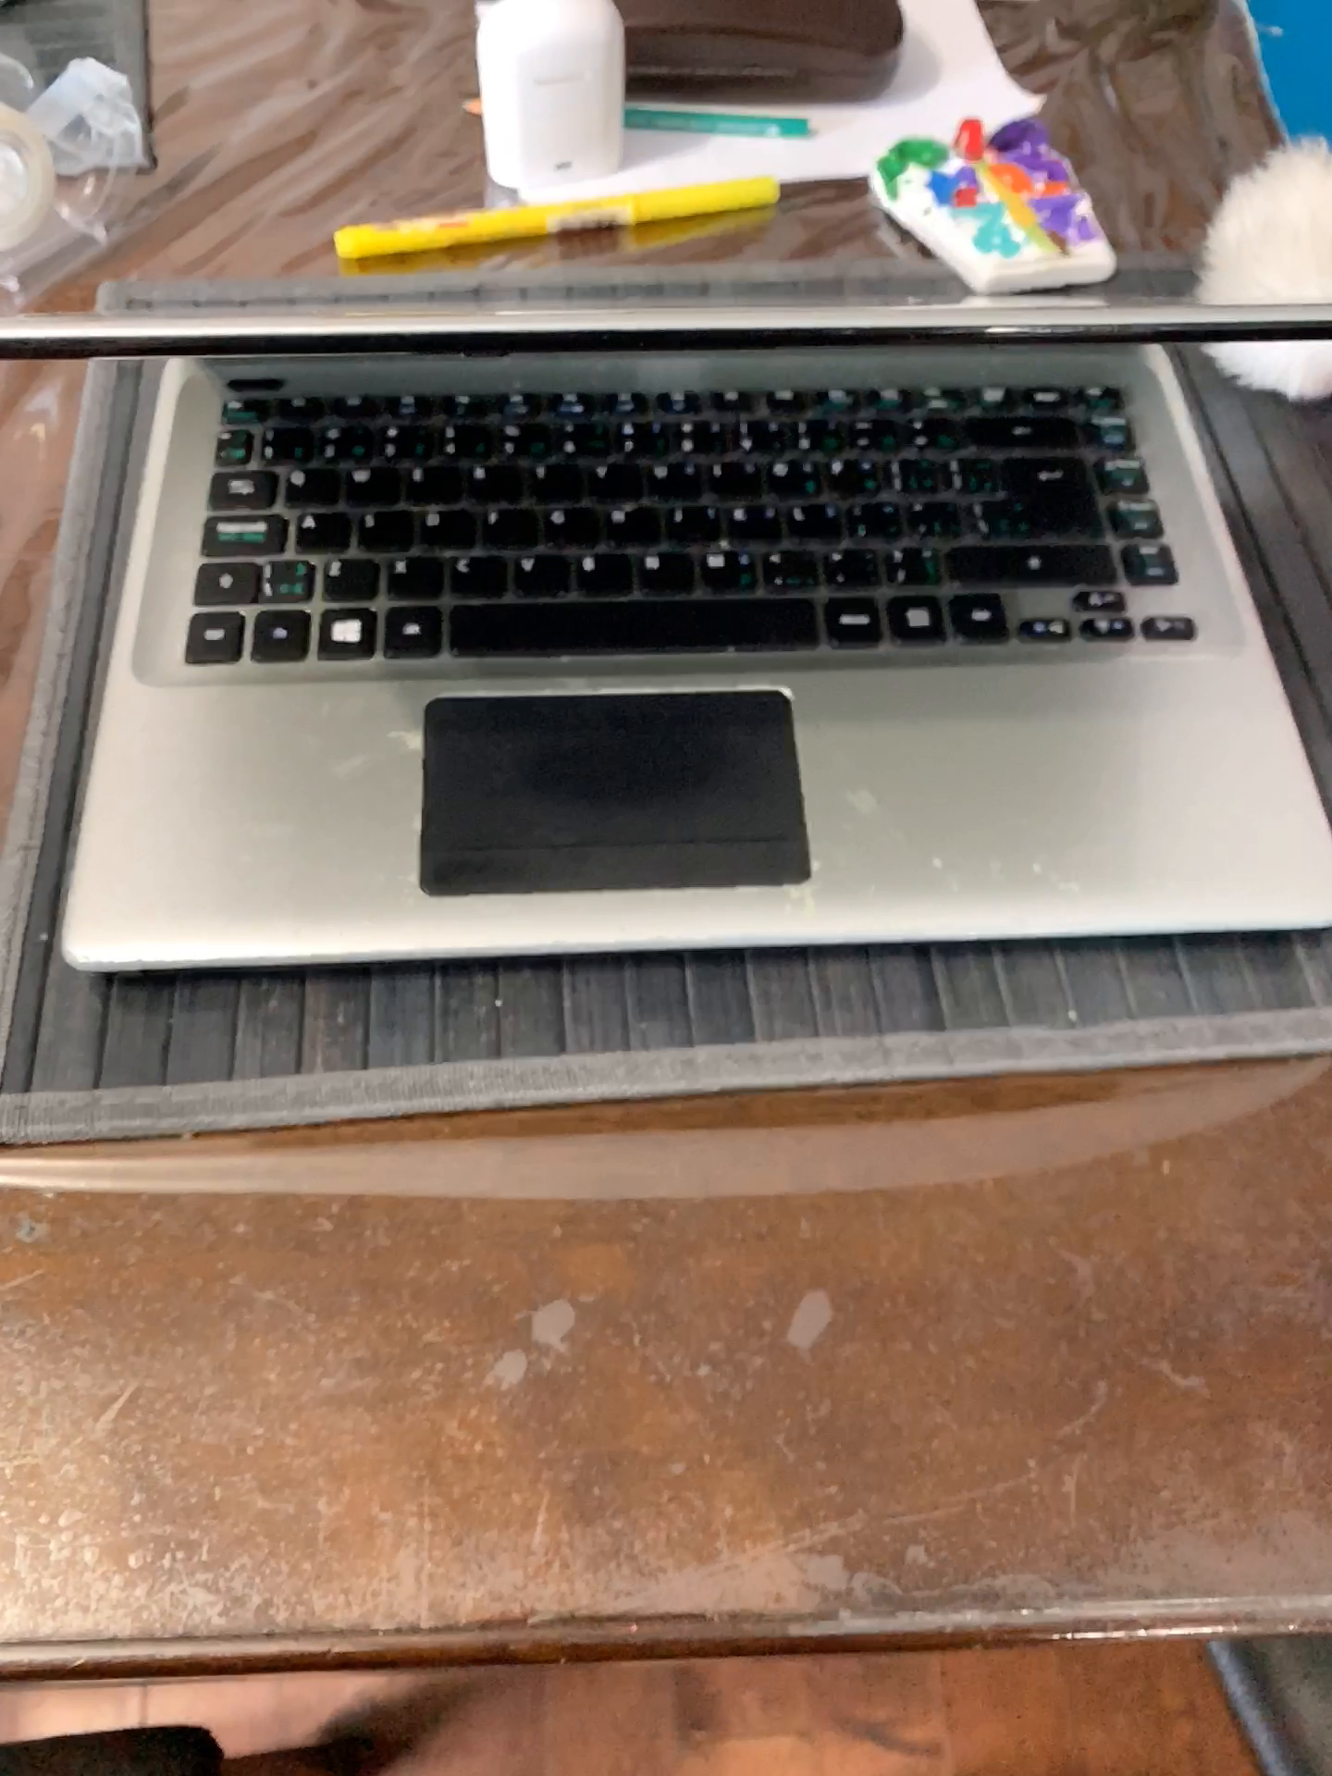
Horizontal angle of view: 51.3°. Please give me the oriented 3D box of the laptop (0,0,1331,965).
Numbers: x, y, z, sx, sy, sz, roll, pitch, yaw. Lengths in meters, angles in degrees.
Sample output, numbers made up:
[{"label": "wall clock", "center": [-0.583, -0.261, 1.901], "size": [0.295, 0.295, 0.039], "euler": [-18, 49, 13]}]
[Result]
[{"label": "laptop", "center": [0.011, -0.121, 0.362], "size": [0.343, 0.141, 0.225], "euler": [-2, 61, -4]}]
